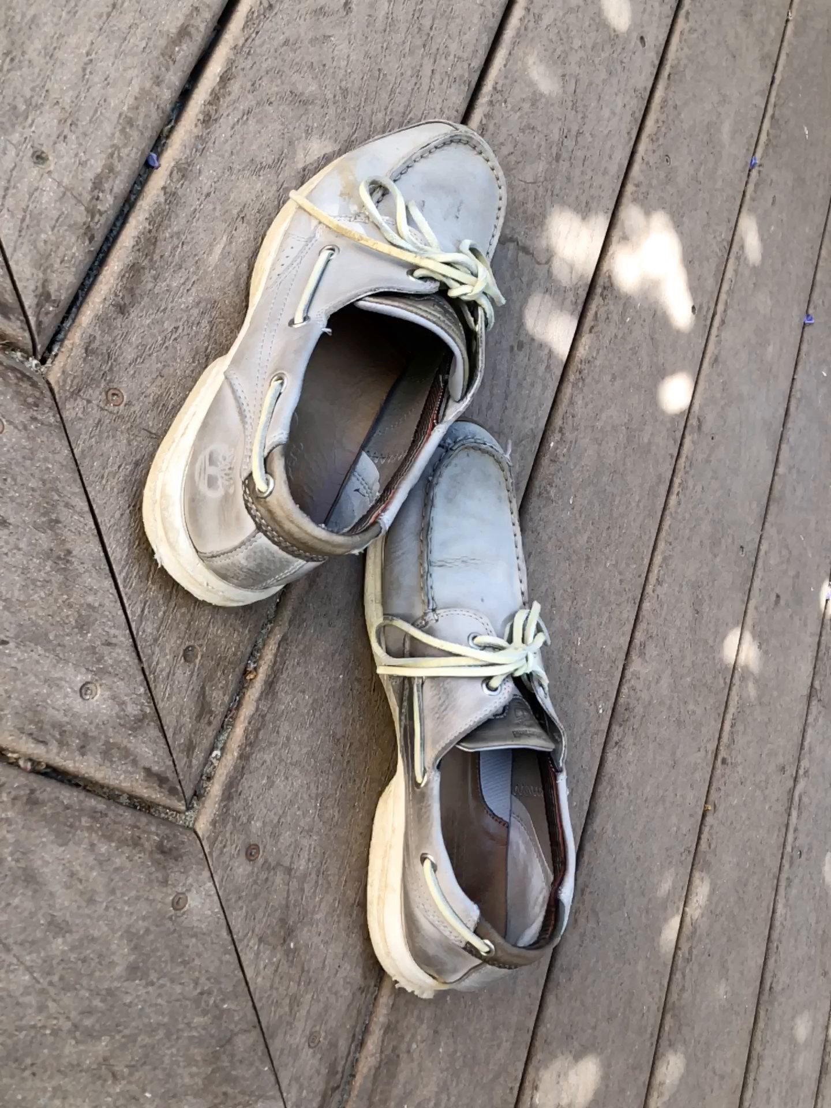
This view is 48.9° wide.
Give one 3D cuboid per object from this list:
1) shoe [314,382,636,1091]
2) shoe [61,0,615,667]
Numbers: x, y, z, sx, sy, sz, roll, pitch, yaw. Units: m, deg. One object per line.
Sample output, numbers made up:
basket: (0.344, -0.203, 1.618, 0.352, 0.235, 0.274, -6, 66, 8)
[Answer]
shoe: (0.035, 0.083, 0.486, 0.121, 0.109, 0.310, 8, 82, -43)
shoe: (-0.019, -0.113, 0.445, 0.117, 0.099, 0.314, 42, 60, -33)
